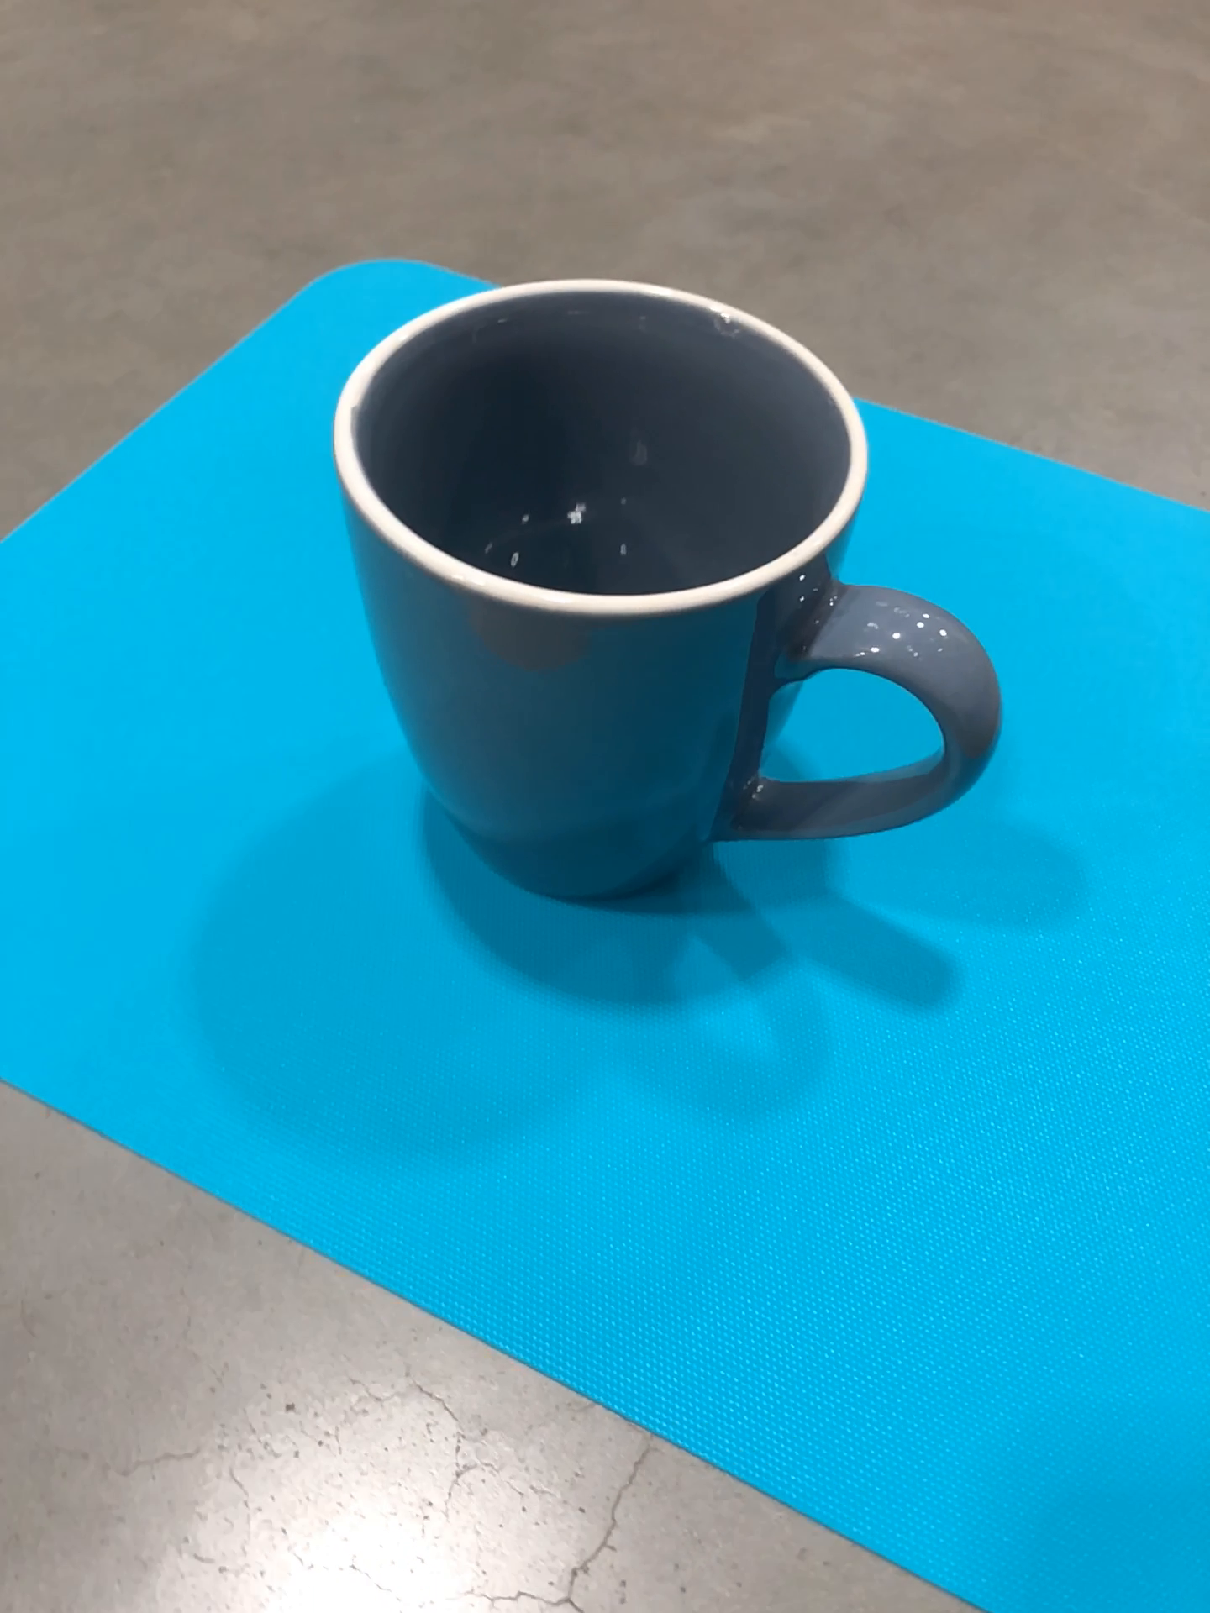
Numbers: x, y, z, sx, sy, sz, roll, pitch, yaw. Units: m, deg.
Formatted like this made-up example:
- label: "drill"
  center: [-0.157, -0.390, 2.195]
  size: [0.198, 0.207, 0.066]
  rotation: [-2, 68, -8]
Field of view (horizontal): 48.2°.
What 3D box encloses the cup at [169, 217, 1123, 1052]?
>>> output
- label: "cup"
  center: [0.010, -0.035, 0.249]
  size: [0.130, 0.080, 0.090]
  rotation: [19, 53, 12]
